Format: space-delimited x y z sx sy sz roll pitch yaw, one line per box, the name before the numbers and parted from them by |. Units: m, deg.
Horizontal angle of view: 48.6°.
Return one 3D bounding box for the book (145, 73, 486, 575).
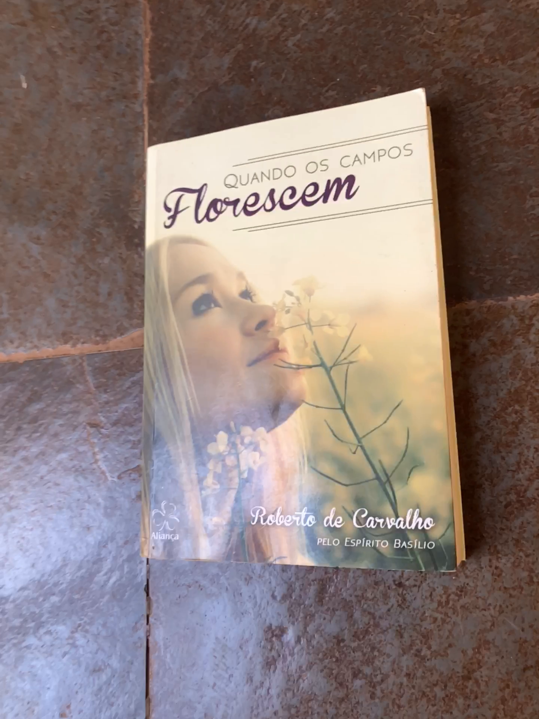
book | 0.014 -0.015 0.299 0.161 0.022 0.225 -5 80 20
